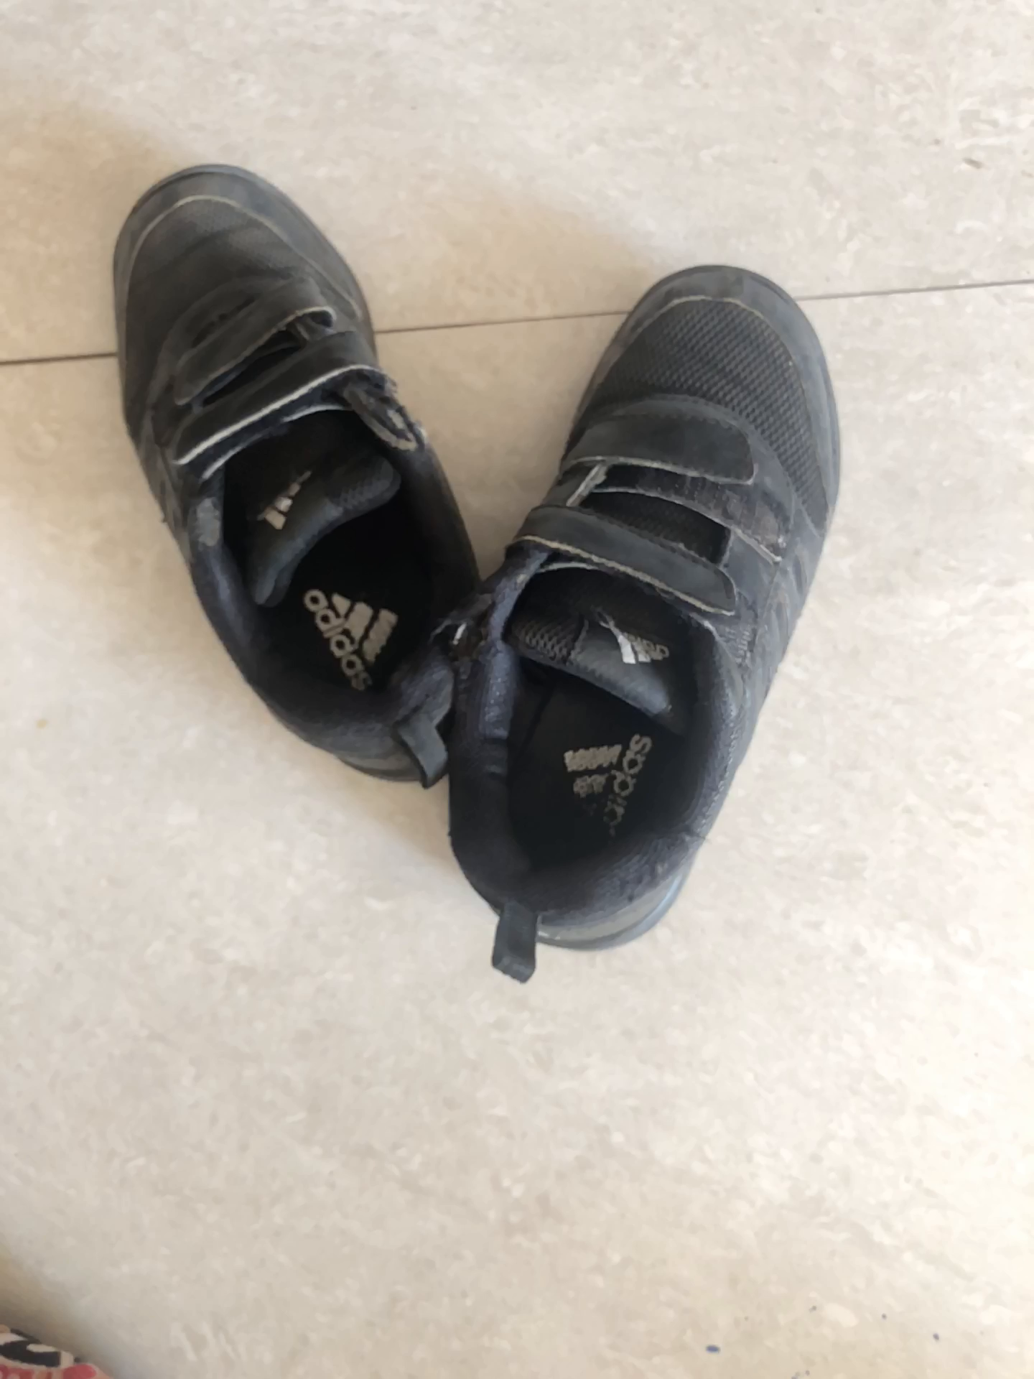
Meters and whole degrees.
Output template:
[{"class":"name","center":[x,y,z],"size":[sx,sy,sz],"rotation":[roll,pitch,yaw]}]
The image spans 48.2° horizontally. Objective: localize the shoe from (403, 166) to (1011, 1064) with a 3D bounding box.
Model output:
[{"class":"shoe","center":[0.056,-0.020,0.353],"size":[0.100,0.100,0.220],"rotation":[17,86,9]}]

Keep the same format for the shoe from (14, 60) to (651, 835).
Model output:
[{"class":"shoe","center":[-0.052,-0.068,0.363],"size":[0.100,0.080,0.200],"rotation":[-30,81,3]}]
